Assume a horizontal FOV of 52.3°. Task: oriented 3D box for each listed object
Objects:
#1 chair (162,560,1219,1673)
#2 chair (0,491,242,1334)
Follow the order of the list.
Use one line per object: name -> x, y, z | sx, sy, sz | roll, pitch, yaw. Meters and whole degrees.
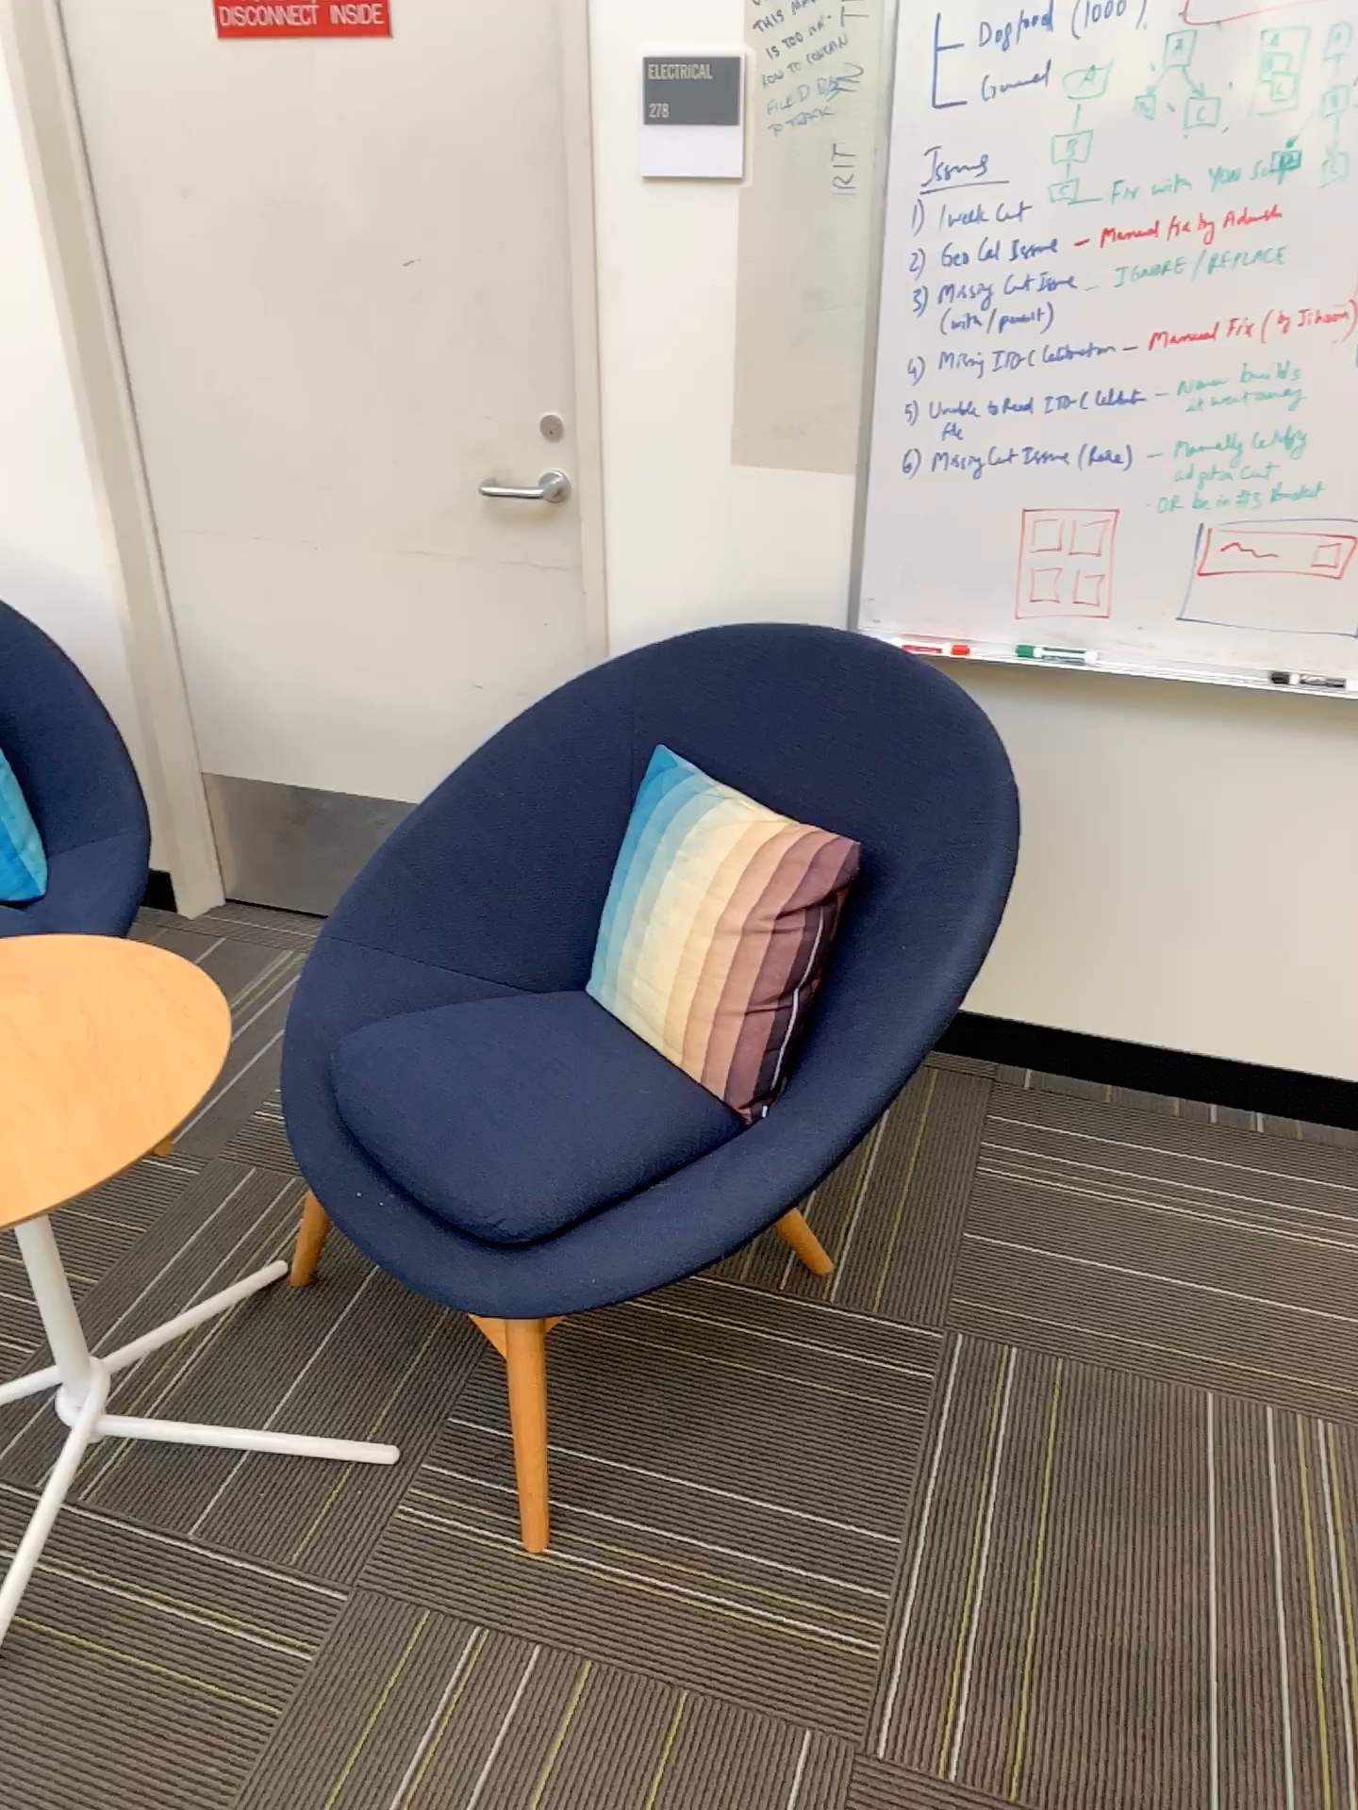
chair -> -0.020, 0.172, 1.895 | 0.980, 0.944, 0.835 | -17, 34, -26
chair -> -1.268, -0.076, 2.140 | 0.790, 0.835, 0.845 | -19, 35, -29
